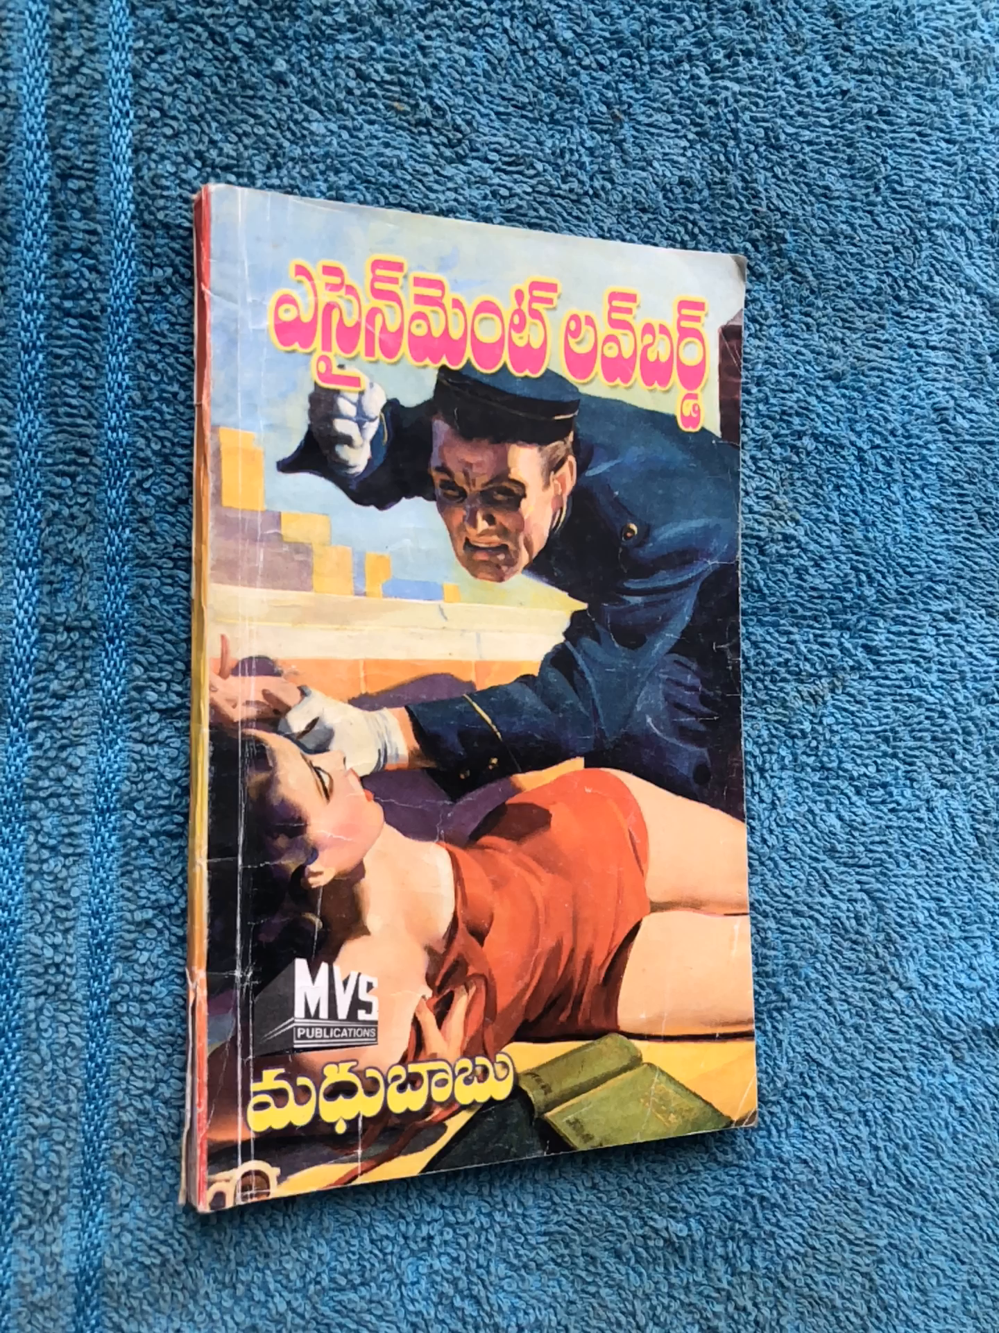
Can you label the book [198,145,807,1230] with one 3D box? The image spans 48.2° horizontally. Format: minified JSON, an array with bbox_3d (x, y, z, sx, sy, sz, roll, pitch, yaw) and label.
[{"bbox_3d":[0.001,0.002,0.196,0.100,0.030,0.160,1,86,-21],"label":"book"}]
